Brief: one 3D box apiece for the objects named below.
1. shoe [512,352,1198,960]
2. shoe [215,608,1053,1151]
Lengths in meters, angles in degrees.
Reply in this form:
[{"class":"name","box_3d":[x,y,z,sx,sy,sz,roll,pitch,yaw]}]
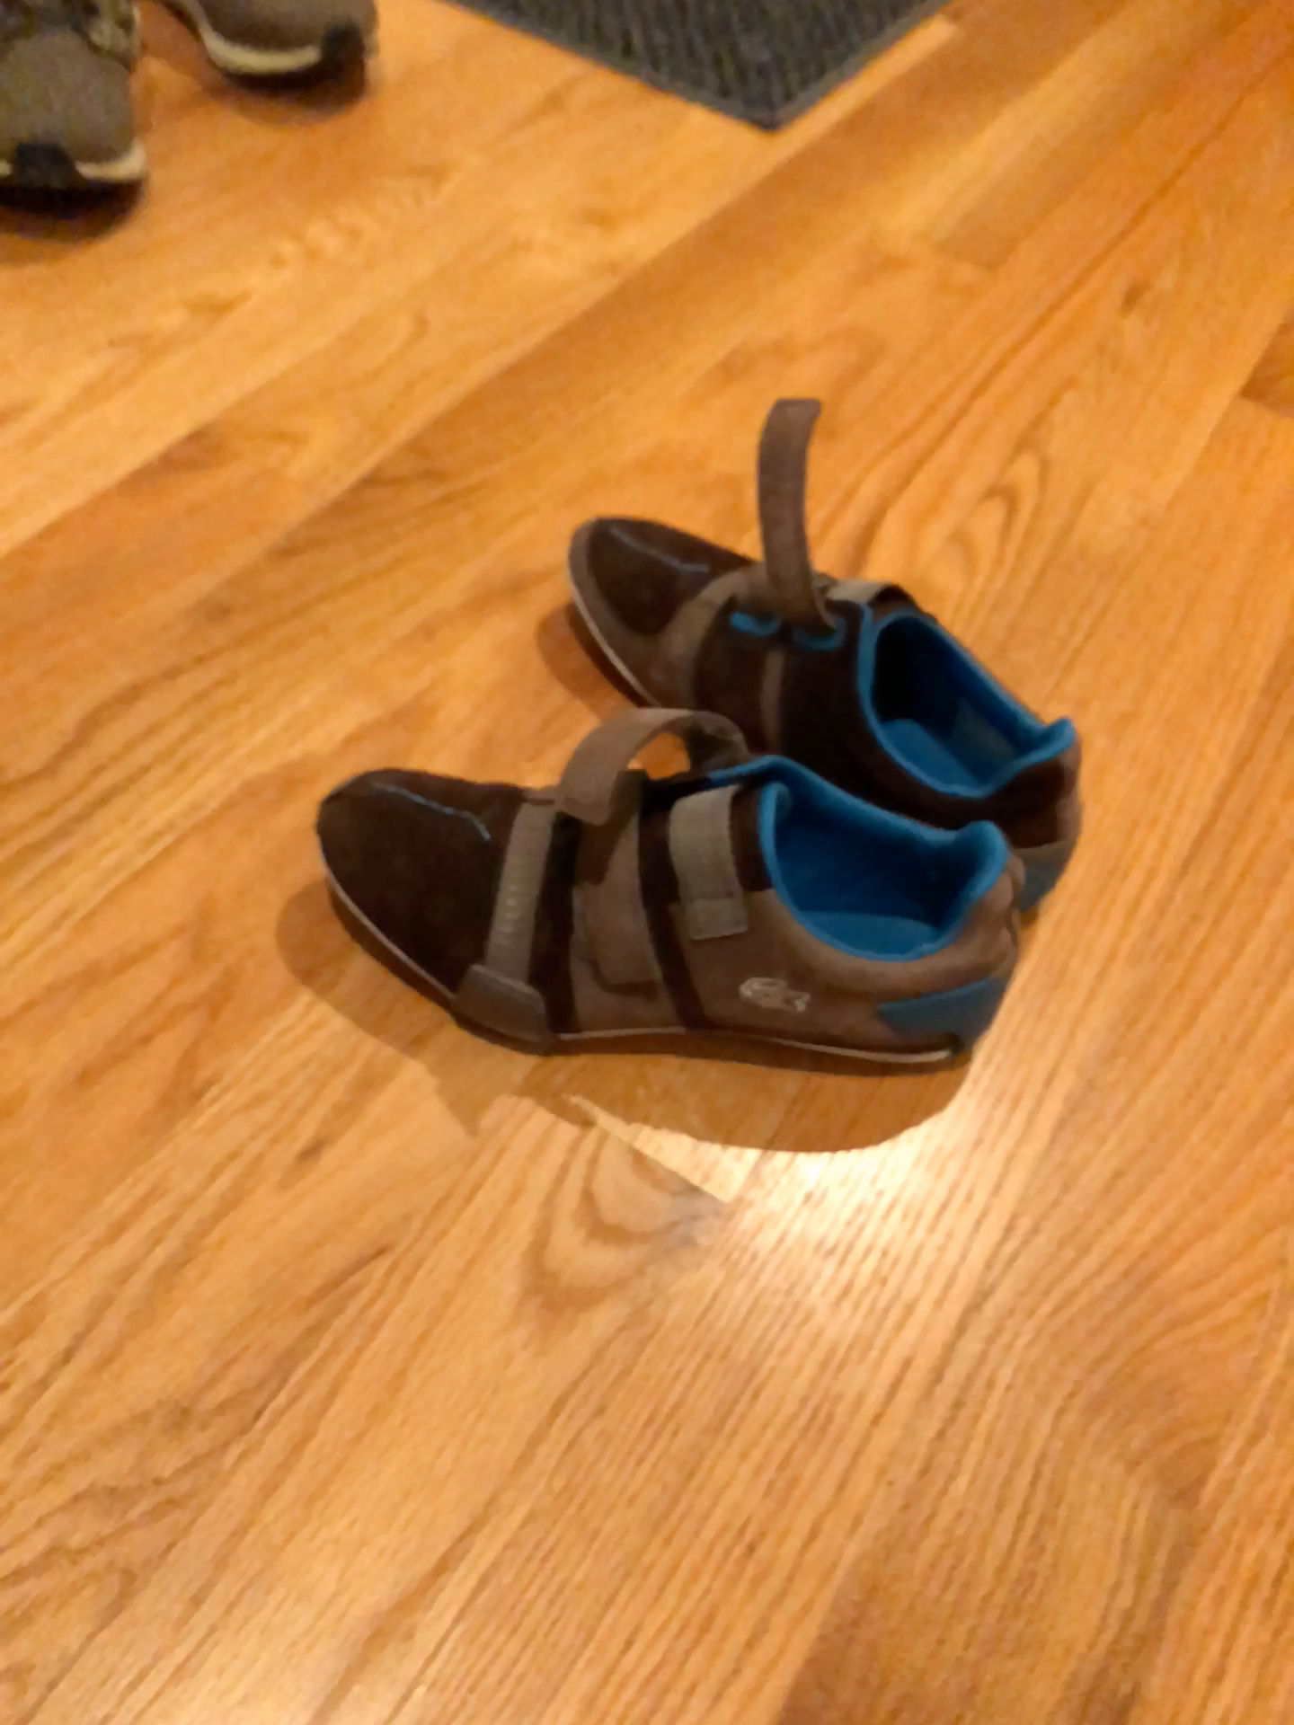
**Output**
[{"class":"shoe","box_3d":[0.072,-0.092,0.589,0.255,0.091,0.102,39,56,21]},{"class":"shoe","box_3d":[-0.001,0.006,0.497,0.255,0.091,0.103,12,51,1]}]
